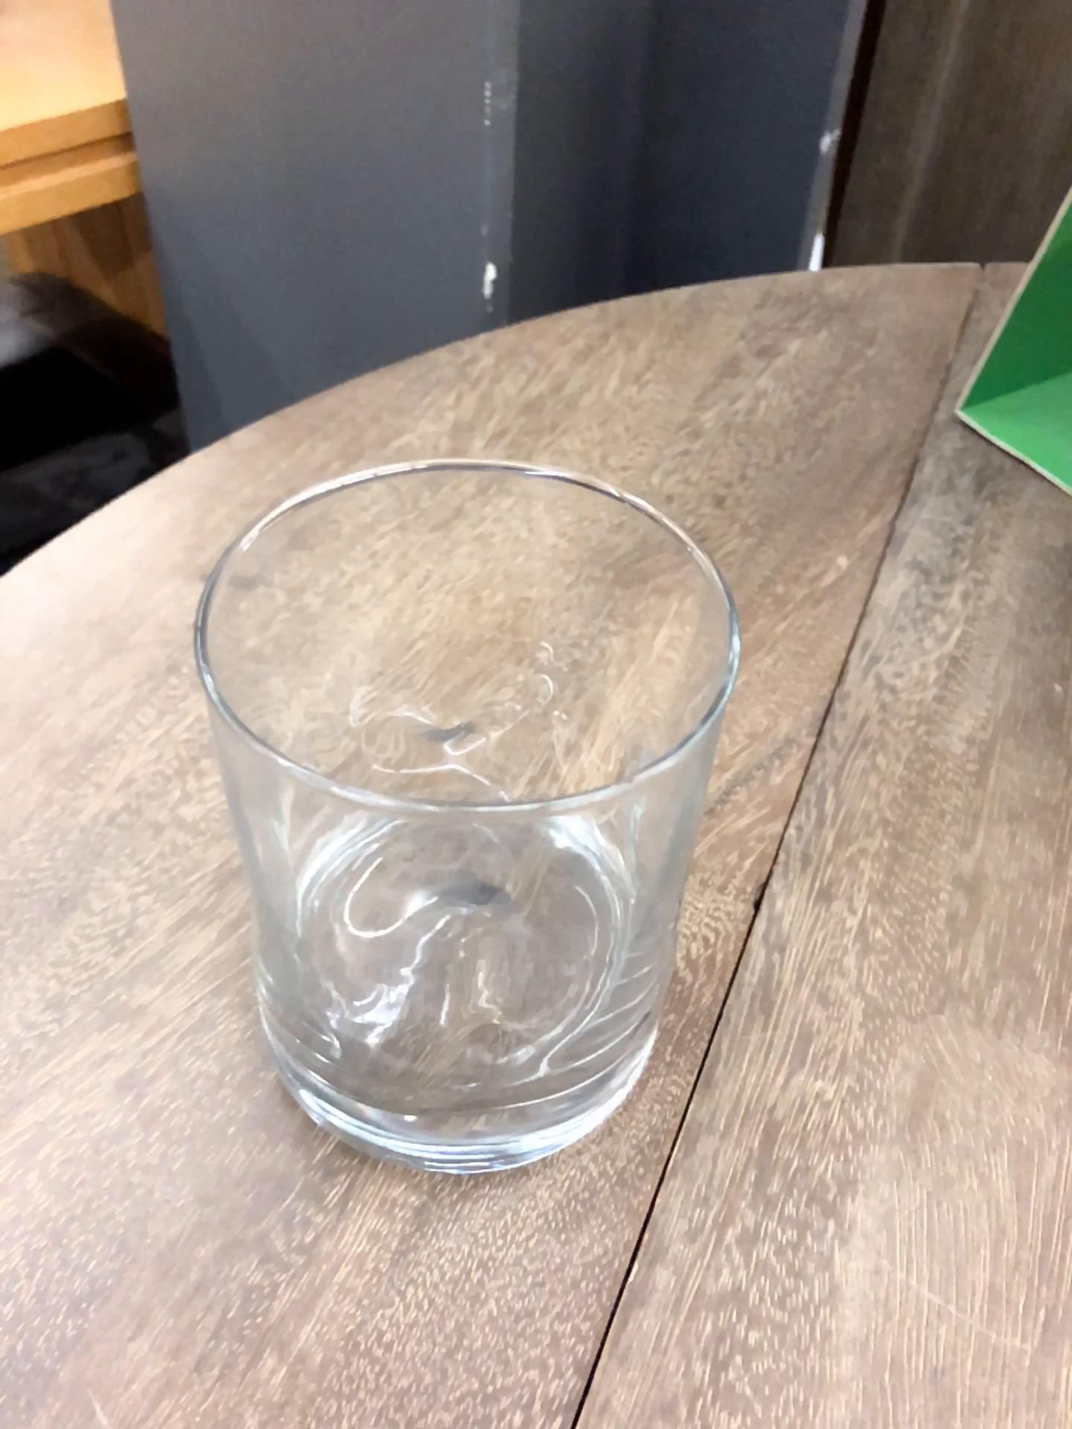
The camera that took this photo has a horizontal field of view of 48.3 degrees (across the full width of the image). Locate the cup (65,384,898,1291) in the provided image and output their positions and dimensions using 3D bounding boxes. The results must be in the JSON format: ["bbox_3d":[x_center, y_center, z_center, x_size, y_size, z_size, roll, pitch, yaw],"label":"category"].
[{"bbox_3d":[-0.010,0.017,0.203,0.084,0.098,0.084,2,44,-2],"label":"cup"}]
